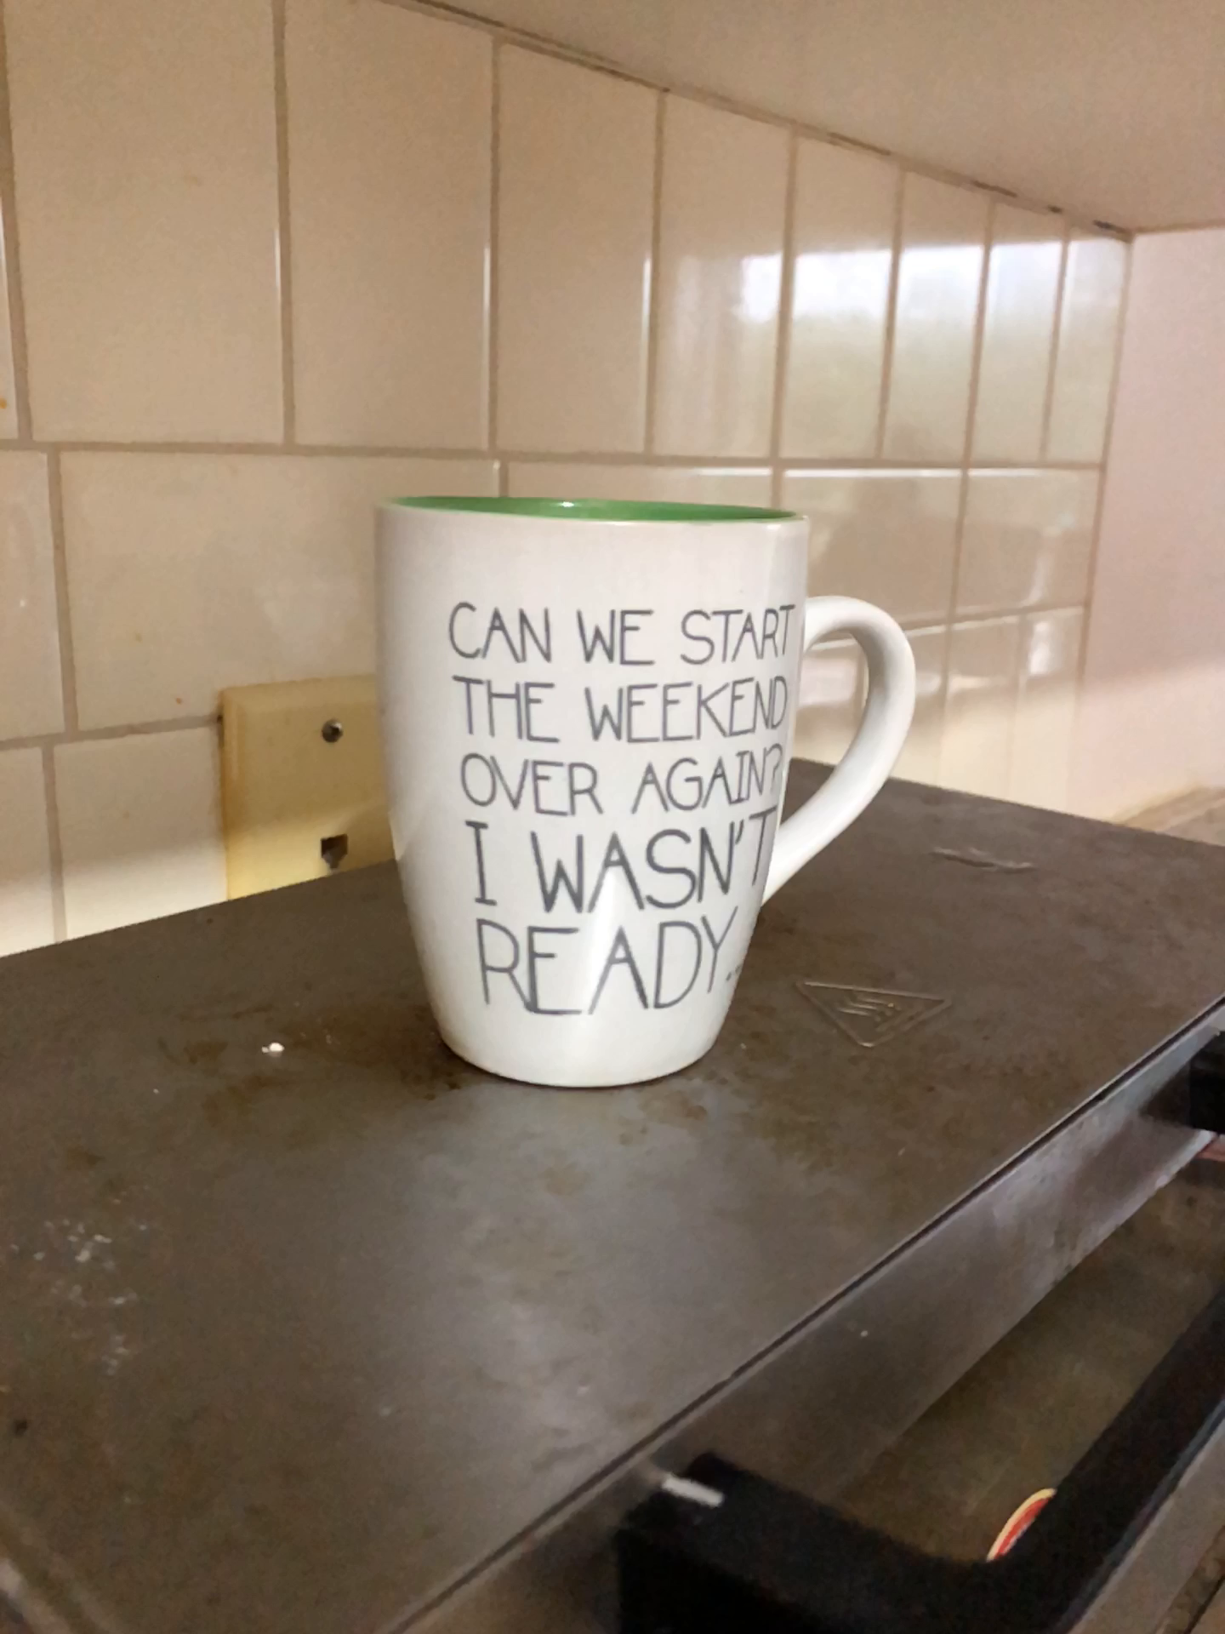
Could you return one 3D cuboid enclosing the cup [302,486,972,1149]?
[{"bbox_3d":[0.001,-0.009,0.276,0.110,0.110,0.070,-5,15,-24],"label":"cup"}]
